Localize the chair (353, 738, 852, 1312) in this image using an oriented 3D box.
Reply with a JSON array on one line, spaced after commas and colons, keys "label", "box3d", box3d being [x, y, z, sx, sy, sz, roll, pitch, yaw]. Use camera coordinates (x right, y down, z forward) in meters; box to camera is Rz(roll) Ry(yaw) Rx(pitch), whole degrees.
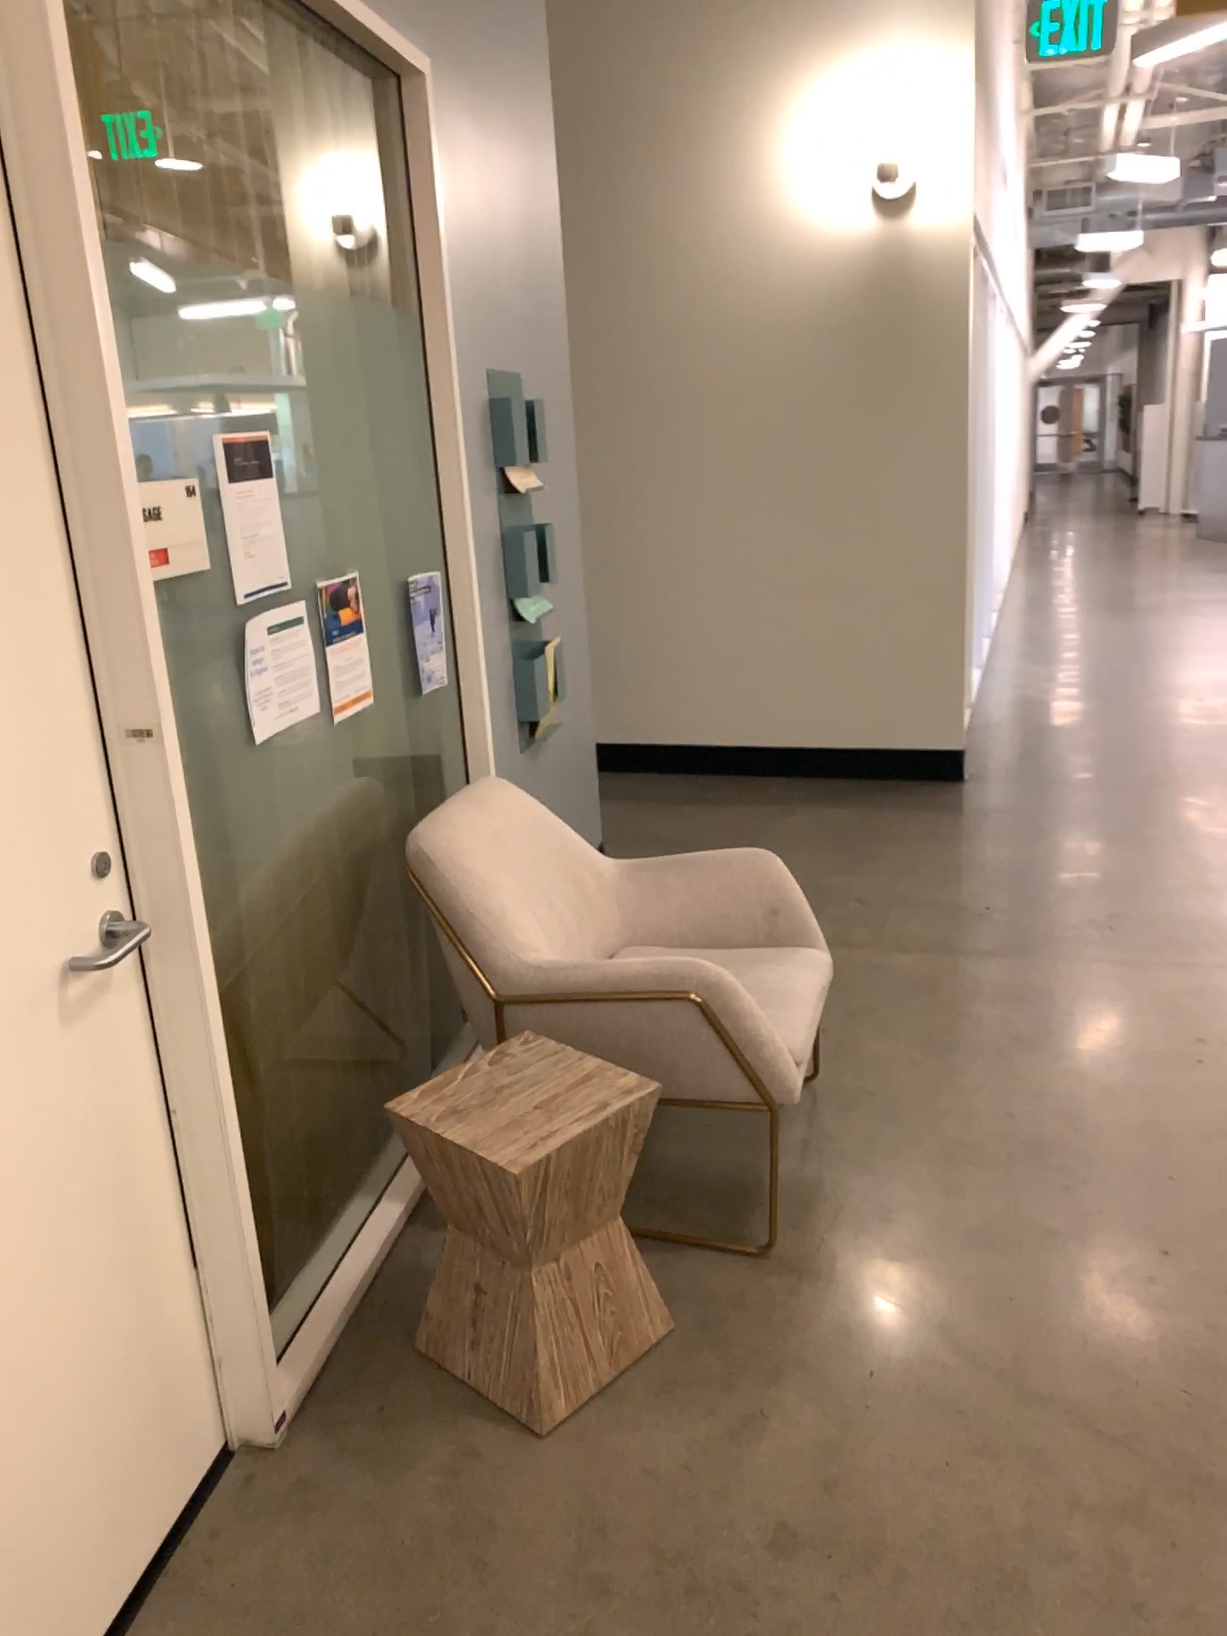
[{"label": "chair", "box3d": [0.054, 0.374, 2.724, 0.870, 0.926, 0.783, 0, 17, 13]}]
